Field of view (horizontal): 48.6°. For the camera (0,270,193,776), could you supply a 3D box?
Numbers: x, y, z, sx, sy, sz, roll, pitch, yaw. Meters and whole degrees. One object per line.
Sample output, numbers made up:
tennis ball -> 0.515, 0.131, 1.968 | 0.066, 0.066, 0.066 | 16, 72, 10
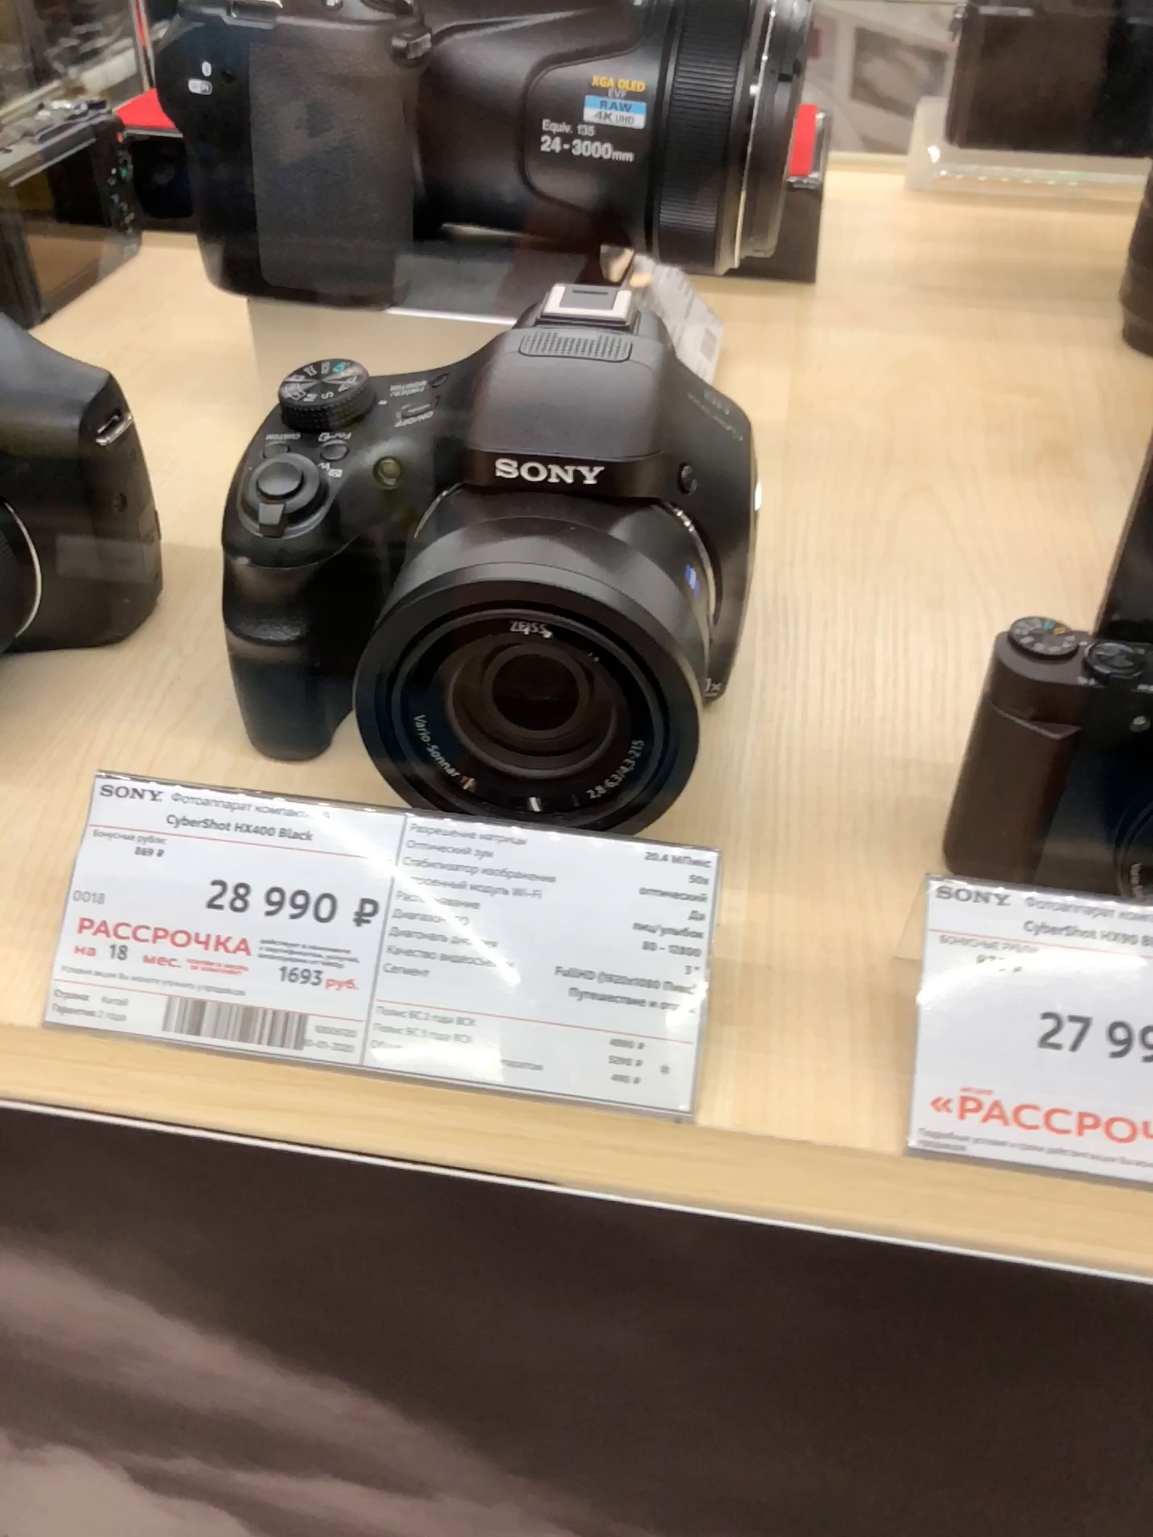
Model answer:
camera -> -0.175, -0.063, 0.309 | 0.122, 0.073, 0.097 | 6, 40, 6

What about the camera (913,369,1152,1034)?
camera -> 0.145, -0.012, 0.263 | 0.125, 0.113, 0.057 | 6, 40, 6

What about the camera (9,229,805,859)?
camera -> -0.025, -0.055, 0.284 | 0.137, 0.086, 0.104 | 6, 40, 6
